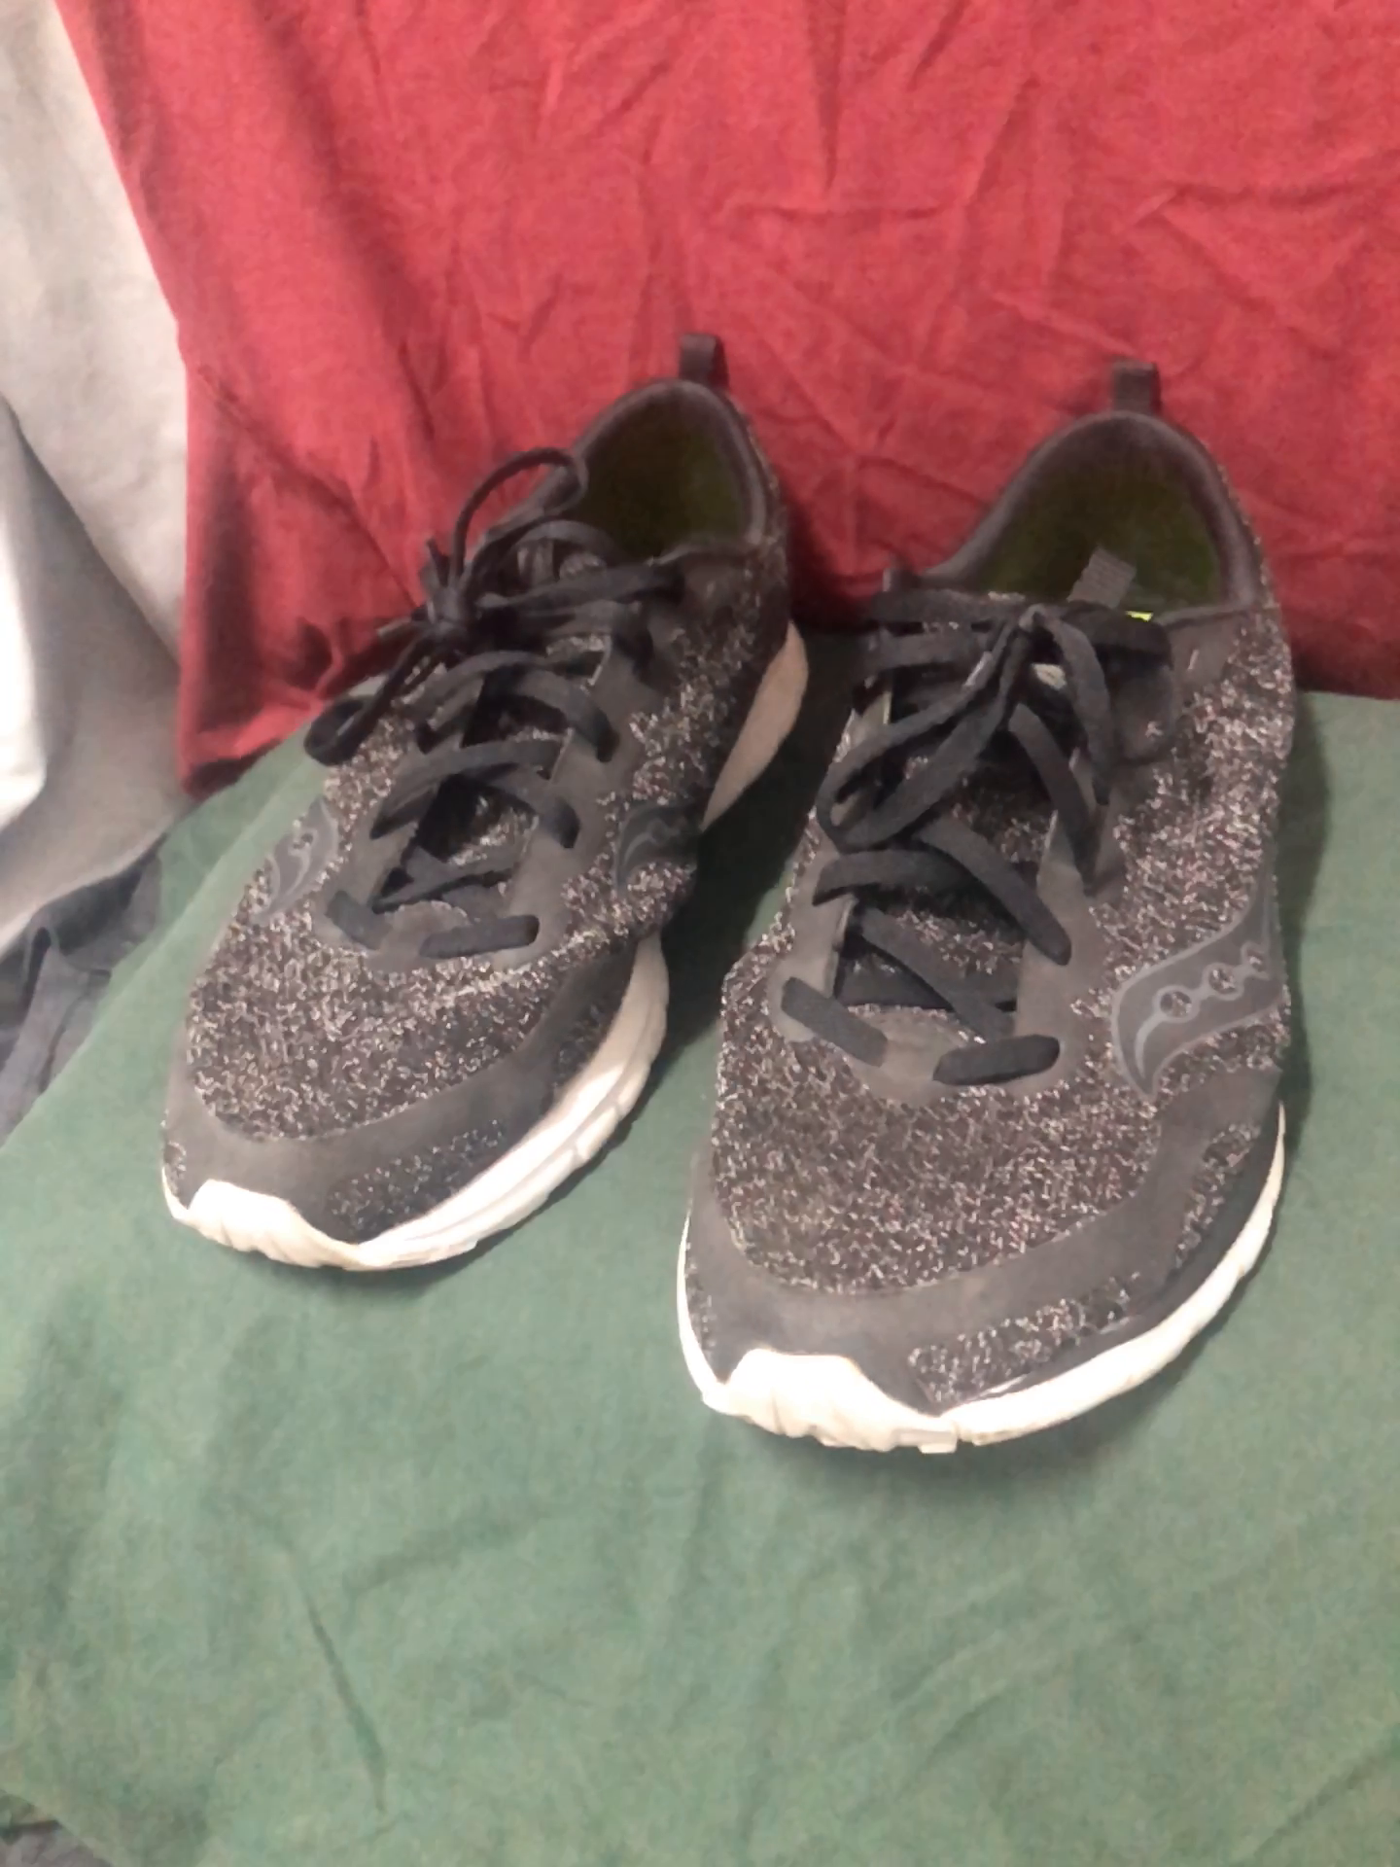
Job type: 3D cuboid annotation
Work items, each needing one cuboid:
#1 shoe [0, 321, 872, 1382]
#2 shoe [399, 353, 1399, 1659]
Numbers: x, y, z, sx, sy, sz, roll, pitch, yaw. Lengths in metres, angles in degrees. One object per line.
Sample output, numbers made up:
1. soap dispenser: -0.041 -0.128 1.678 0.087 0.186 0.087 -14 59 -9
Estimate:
1. shoe: -0.056 -0.046 0.387 0.120 0.099 0.272 7 45 22
2. shoe: 0.067 -0.016 0.323 0.120 0.099 0.262 8 45 23
